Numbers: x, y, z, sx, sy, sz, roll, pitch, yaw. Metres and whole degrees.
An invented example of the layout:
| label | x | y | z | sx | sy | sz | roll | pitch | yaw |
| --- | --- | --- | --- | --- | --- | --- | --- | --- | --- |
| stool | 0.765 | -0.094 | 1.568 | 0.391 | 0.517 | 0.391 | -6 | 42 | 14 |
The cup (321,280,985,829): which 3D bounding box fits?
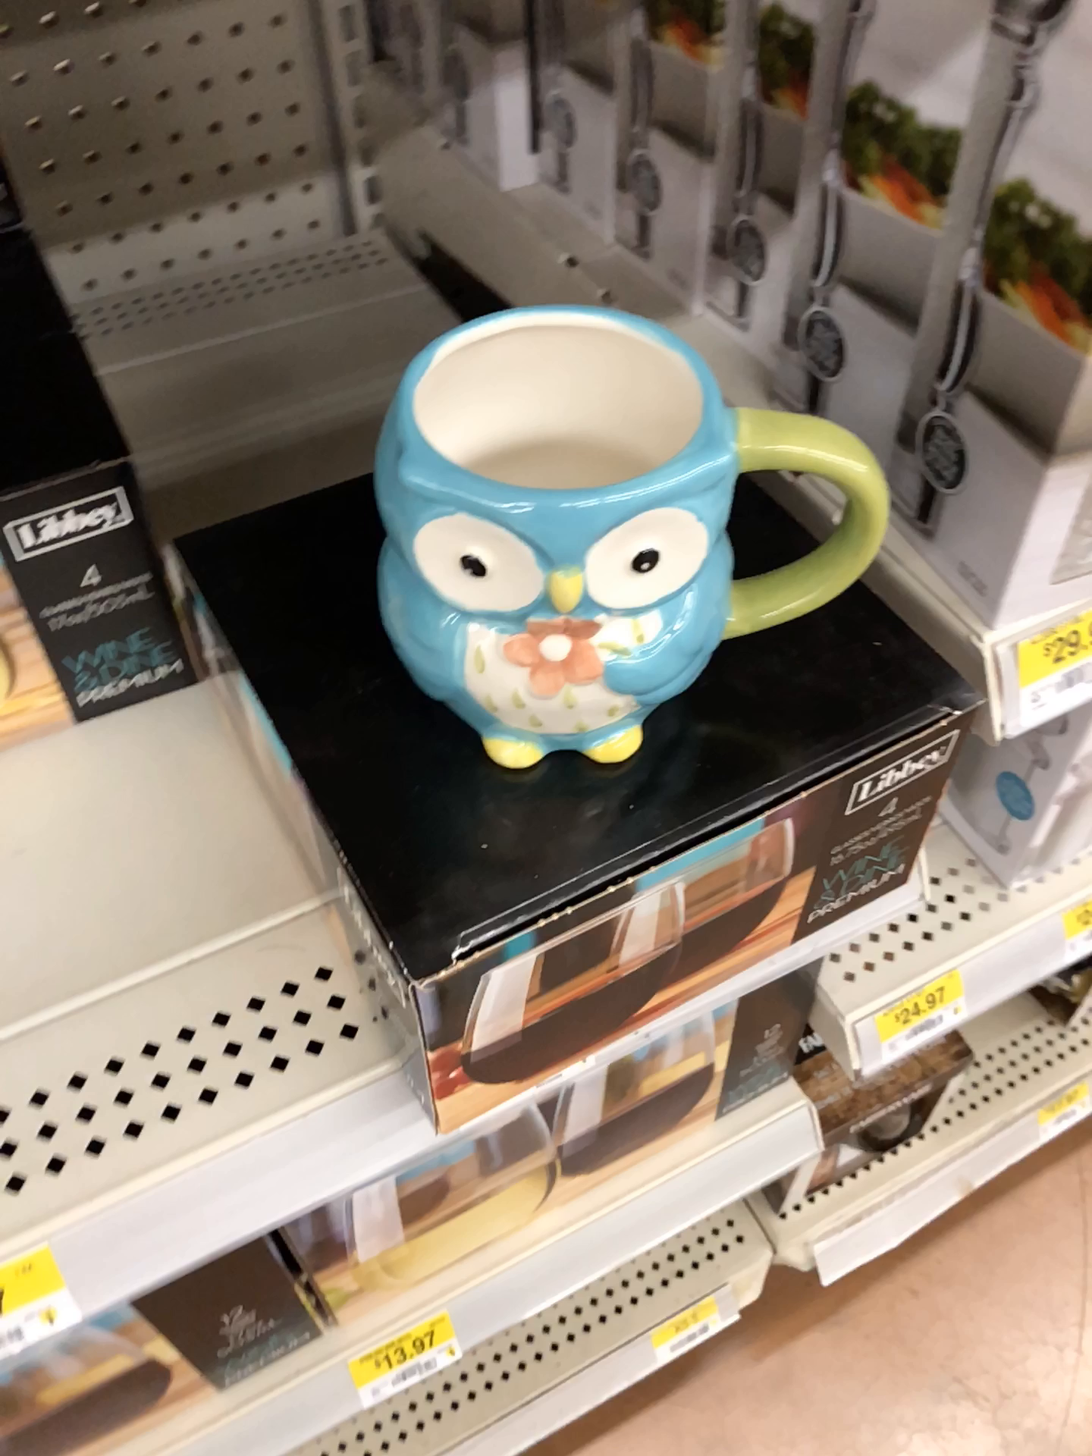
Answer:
| label | x | y | z | sx | sy | sz | roll | pitch | yaw |
| --- | --- | --- | --- | --- | --- | --- | --- | --- | --- |
| cup | 0.027 | -0.045 | 0.328 | 0.140 | 0.110 | 0.090 | 3 | 50 | 5 |
